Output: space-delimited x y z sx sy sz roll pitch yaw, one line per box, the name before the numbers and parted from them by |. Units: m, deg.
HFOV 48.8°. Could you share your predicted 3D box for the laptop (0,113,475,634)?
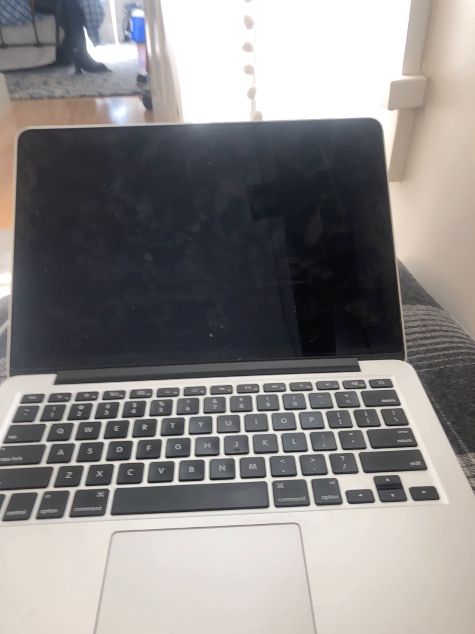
laptop | -0.021 -0.004 0.338 0.306 0.142 0.368 -3 35 -1
